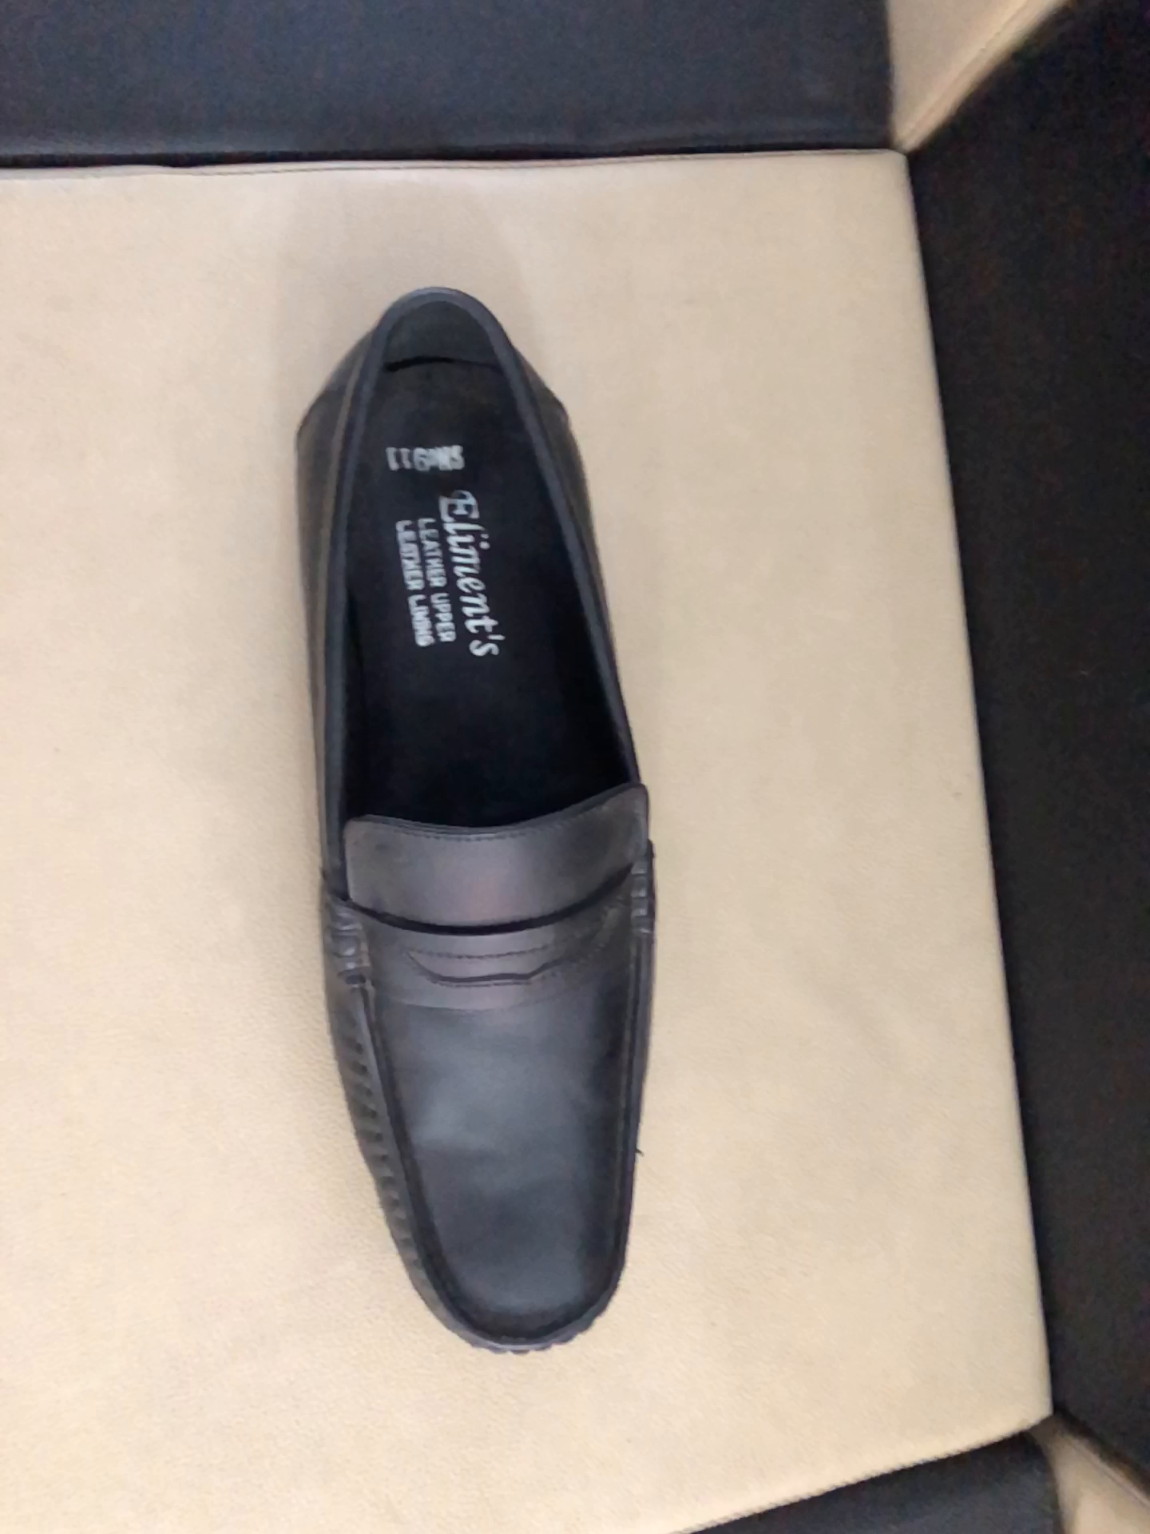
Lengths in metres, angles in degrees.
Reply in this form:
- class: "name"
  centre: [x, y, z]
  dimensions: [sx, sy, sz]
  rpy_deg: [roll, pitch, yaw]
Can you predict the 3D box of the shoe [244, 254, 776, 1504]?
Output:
- class: "shoe"
  centre: [-0.022, 0.023, 0.346]
  dimensions: [0.100, 0.080, 0.290]
  rpy_deg: [-6, 90, -13]
